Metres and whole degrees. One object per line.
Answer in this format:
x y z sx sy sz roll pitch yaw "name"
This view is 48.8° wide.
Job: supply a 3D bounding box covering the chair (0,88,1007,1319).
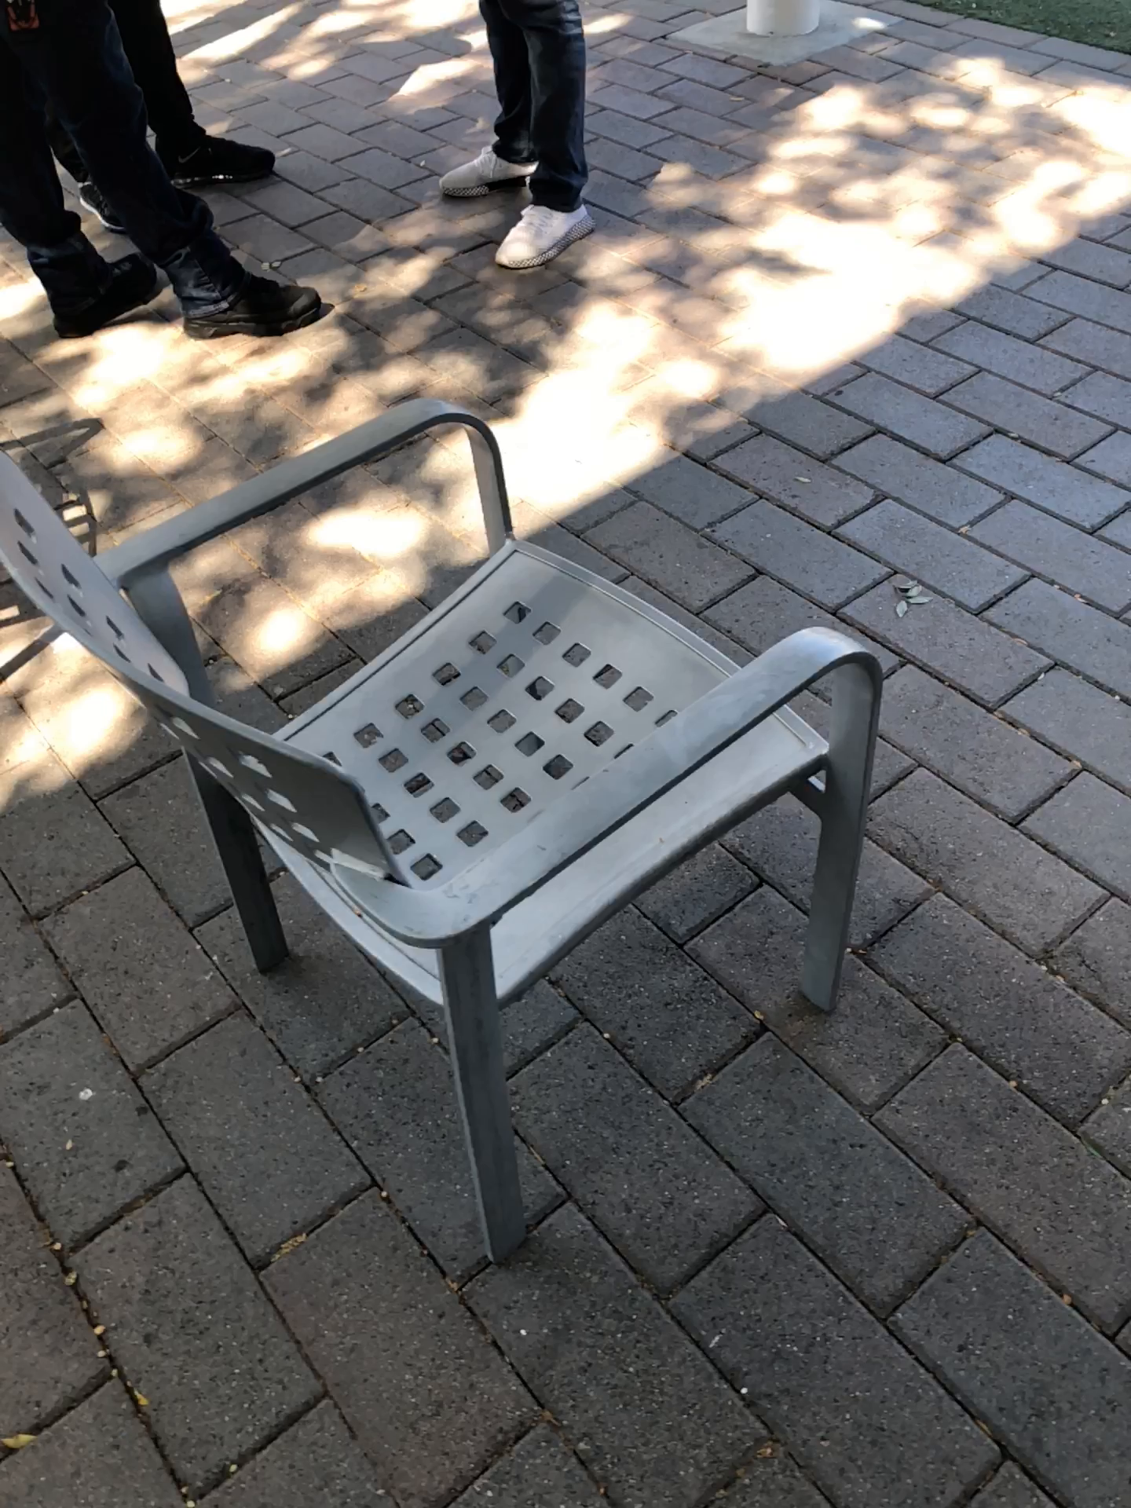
-0.088 -0.054 1.175 0.590 0.776 0.633 -36 52 -22 "chair"
